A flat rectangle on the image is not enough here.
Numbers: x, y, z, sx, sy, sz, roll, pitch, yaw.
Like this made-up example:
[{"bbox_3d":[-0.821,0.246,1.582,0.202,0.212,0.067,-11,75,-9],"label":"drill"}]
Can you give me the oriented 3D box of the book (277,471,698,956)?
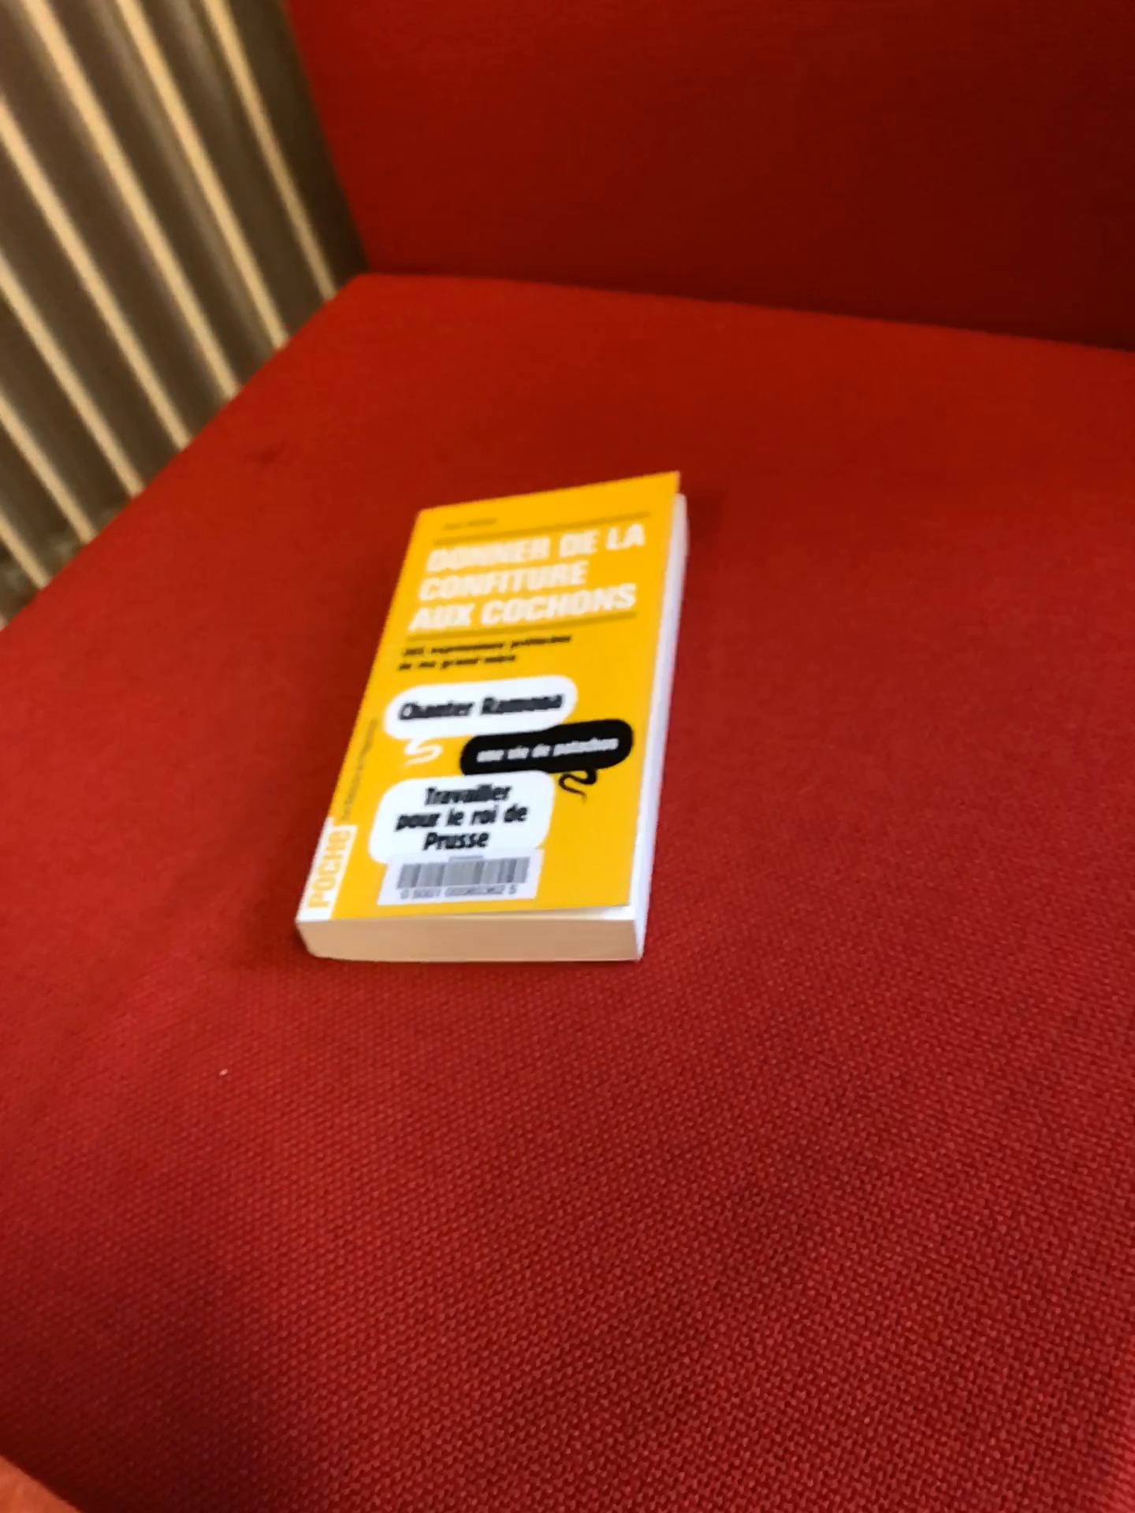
[{"bbox_3d":[-0.017,-0.021,0.415,0.106,0.030,0.181,-2,50,13],"label":"book"}]
